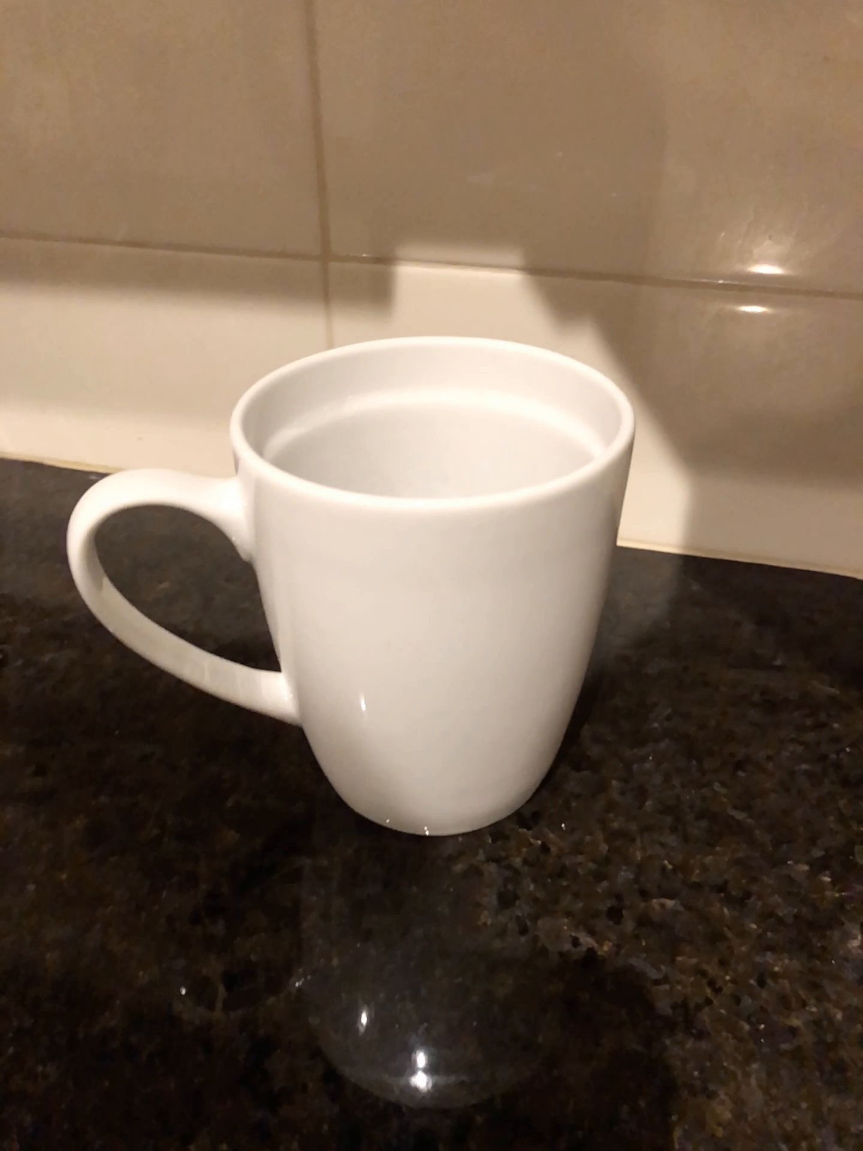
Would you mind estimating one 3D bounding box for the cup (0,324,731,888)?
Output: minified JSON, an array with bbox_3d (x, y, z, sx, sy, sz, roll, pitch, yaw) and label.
[{"bbox_3d":[-0.016,0.002,0.227,0.130,0.090,0.090,-3,33,-5],"label":"cup"}]
